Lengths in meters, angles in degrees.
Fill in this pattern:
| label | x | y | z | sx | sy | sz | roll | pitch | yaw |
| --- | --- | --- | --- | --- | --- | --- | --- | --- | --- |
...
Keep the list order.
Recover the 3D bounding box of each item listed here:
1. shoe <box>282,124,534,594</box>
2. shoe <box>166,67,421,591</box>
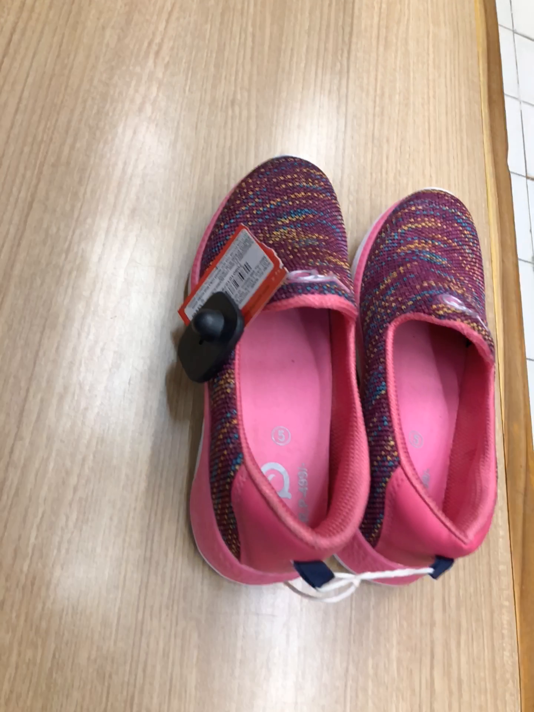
| label | x | y | z | sx | sy | sz | roll | pitch | yaw |
| --- | --- | --- | --- | --- | --- | --- | --- | --- | --- |
| shoe | 0.094 | 0.002 | 0.376 | 0.100 | 0.100 | 0.261 | 17 | 67 | -13 |
| shoe | 0.010 | -0.010 | 0.320 | 0.090 | 0.100 | 0.251 | 8 | 69 | -17 |
